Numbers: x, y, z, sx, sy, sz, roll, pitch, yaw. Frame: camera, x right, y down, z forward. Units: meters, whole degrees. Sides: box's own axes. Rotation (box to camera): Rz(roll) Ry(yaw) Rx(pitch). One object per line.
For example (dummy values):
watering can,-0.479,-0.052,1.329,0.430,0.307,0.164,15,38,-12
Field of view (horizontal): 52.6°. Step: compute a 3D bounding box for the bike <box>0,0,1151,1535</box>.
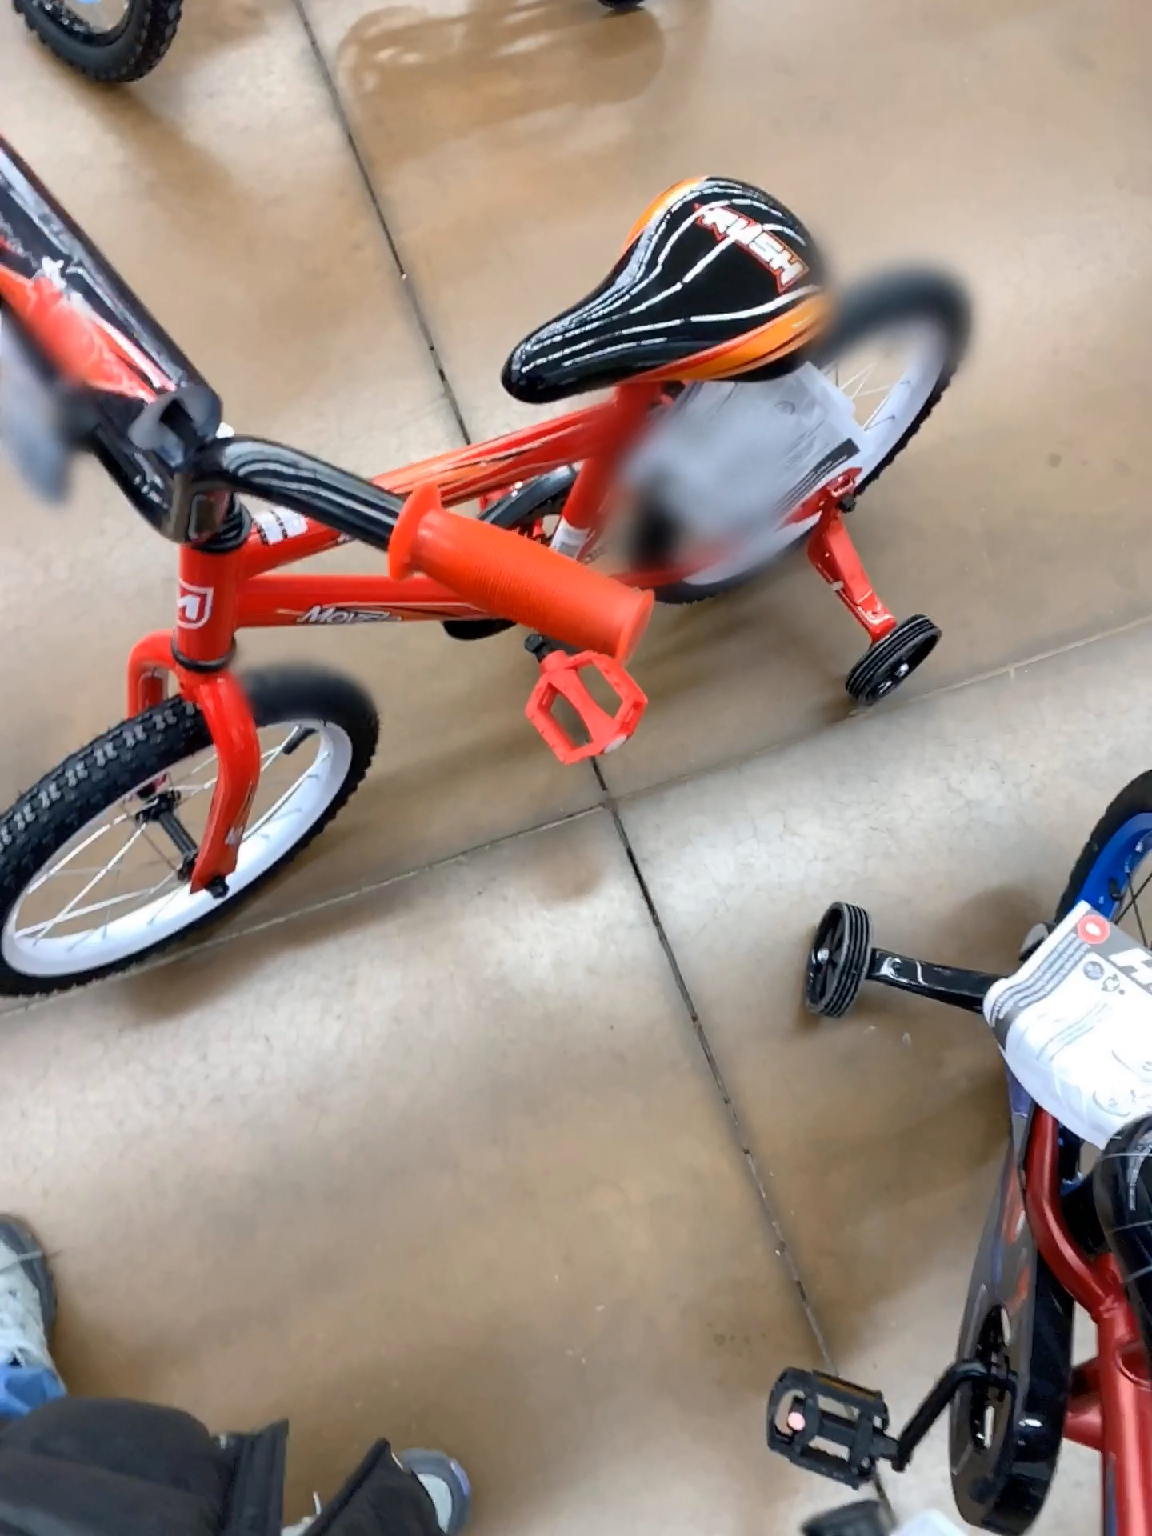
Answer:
bike,-0.016,-0.176,0.871,1.069,0.852,0.585,-34,75,-14
